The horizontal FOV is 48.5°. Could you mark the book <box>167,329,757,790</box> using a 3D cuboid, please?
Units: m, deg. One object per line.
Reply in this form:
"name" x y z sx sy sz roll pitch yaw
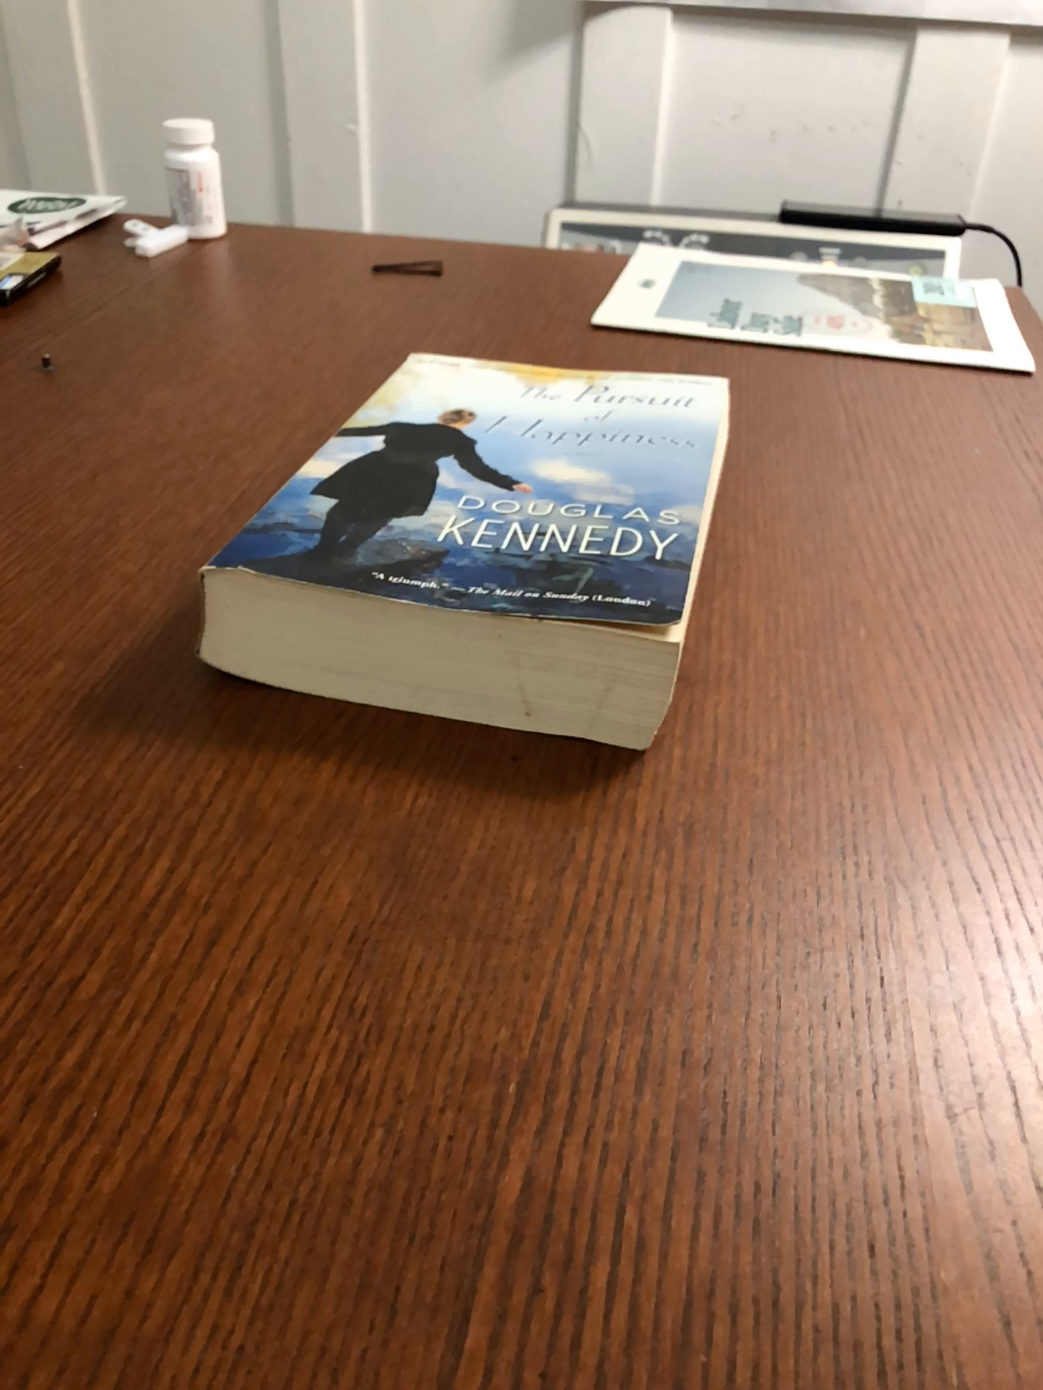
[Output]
"book" 0.000 -0.070 0.433 0.160 0.050 0.241 8 34 8
